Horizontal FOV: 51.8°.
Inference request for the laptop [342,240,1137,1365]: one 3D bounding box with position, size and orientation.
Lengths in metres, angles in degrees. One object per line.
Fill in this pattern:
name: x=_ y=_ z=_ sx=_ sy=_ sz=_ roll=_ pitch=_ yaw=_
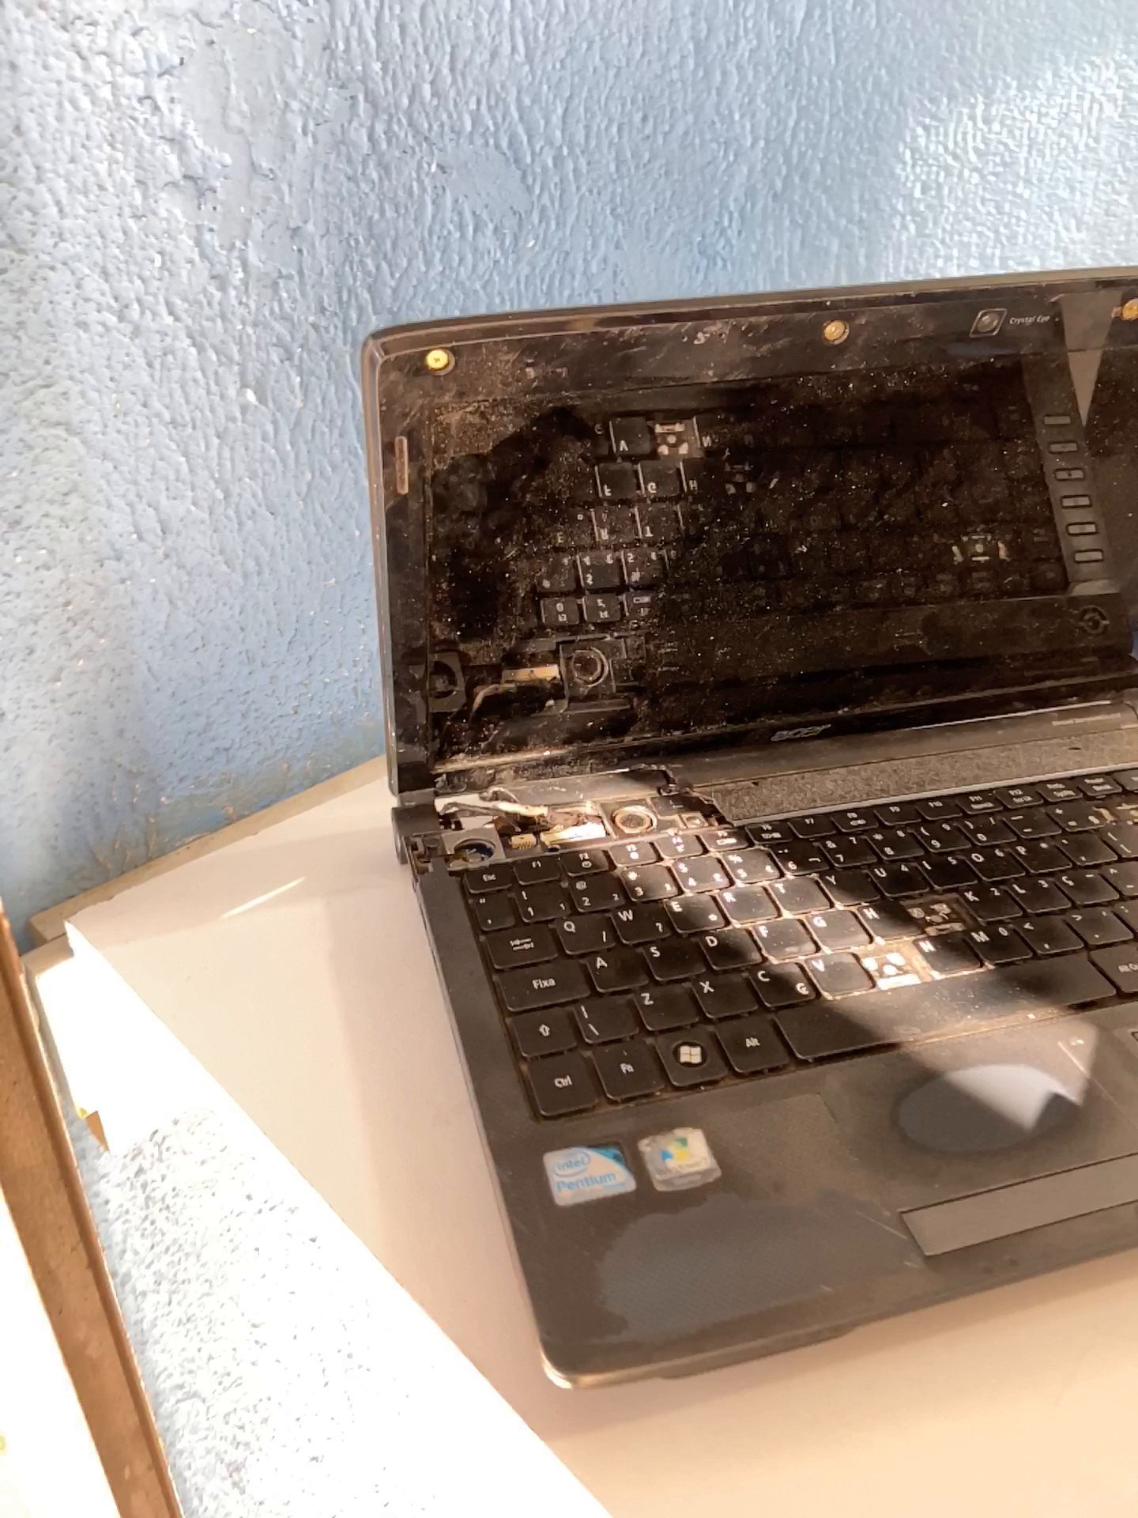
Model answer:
laptop: x=0.126 y=-0.029 z=0.340 sx=0.334 sy=0.182 sz=0.229 roll=-8 pitch=32 yaw=-13
